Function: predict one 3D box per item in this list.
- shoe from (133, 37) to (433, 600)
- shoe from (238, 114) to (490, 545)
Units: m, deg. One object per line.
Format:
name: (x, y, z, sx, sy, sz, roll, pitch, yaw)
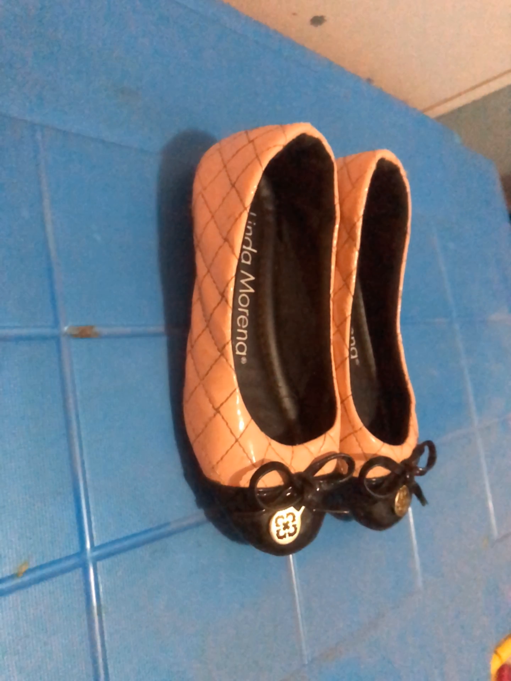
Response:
shoe: (0.009, -0.006, 0.243, 0.070, 0.079, 0.190, -1, 82, -47)
shoe: (0.055, -0.003, 0.301, 0.070, 0.079, 0.190, -2, 84, -47)
